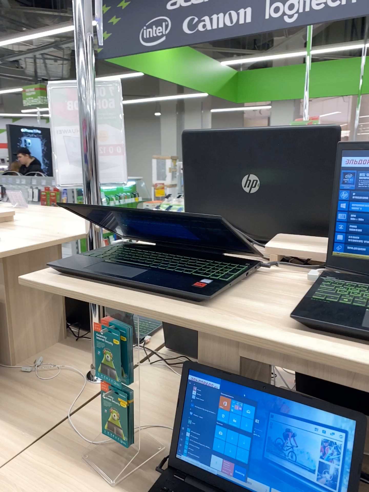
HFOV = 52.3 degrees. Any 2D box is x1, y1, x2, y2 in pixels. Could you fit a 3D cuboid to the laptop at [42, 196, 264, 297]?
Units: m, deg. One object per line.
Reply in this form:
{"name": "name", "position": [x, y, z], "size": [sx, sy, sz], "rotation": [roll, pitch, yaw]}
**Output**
{"name": "laptop", "position": [-0.059, -0.023, 0.752], "size": [0.365, 0.115, 0.244], "rotation": [8, 14, 30]}
